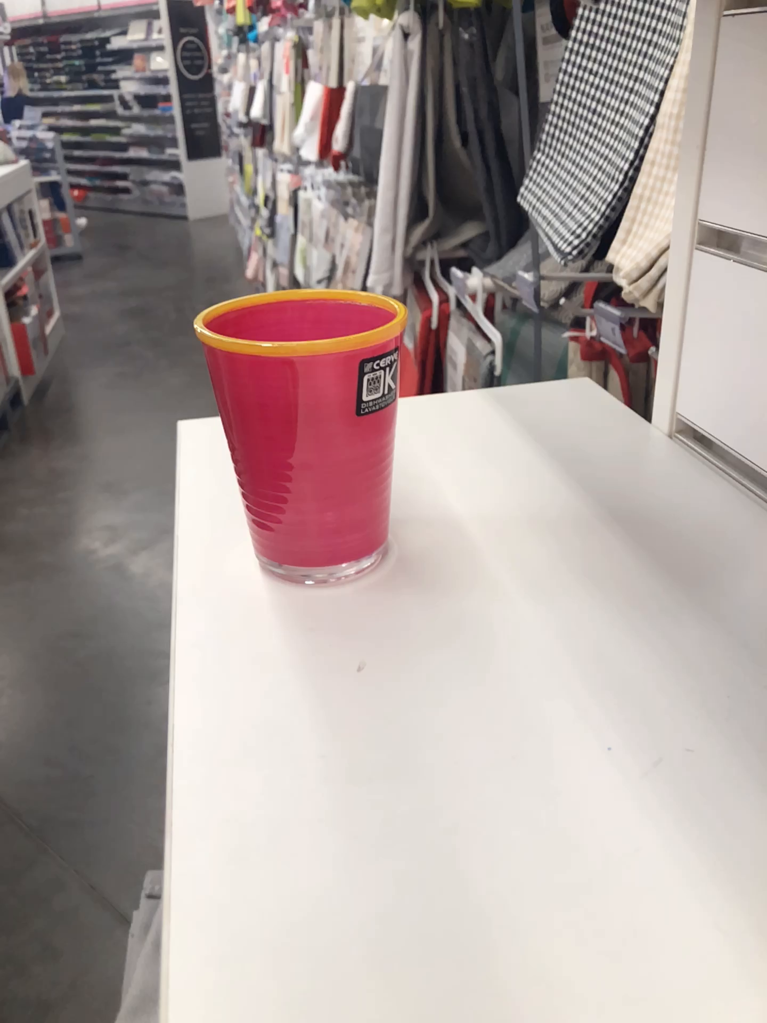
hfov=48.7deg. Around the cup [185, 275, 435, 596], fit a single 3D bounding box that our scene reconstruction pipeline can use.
[{"bbox_3d":[-0.027,-0.033,0.330,0.079,0.094,0.085,-2,27,1],"label":"cup"}]
